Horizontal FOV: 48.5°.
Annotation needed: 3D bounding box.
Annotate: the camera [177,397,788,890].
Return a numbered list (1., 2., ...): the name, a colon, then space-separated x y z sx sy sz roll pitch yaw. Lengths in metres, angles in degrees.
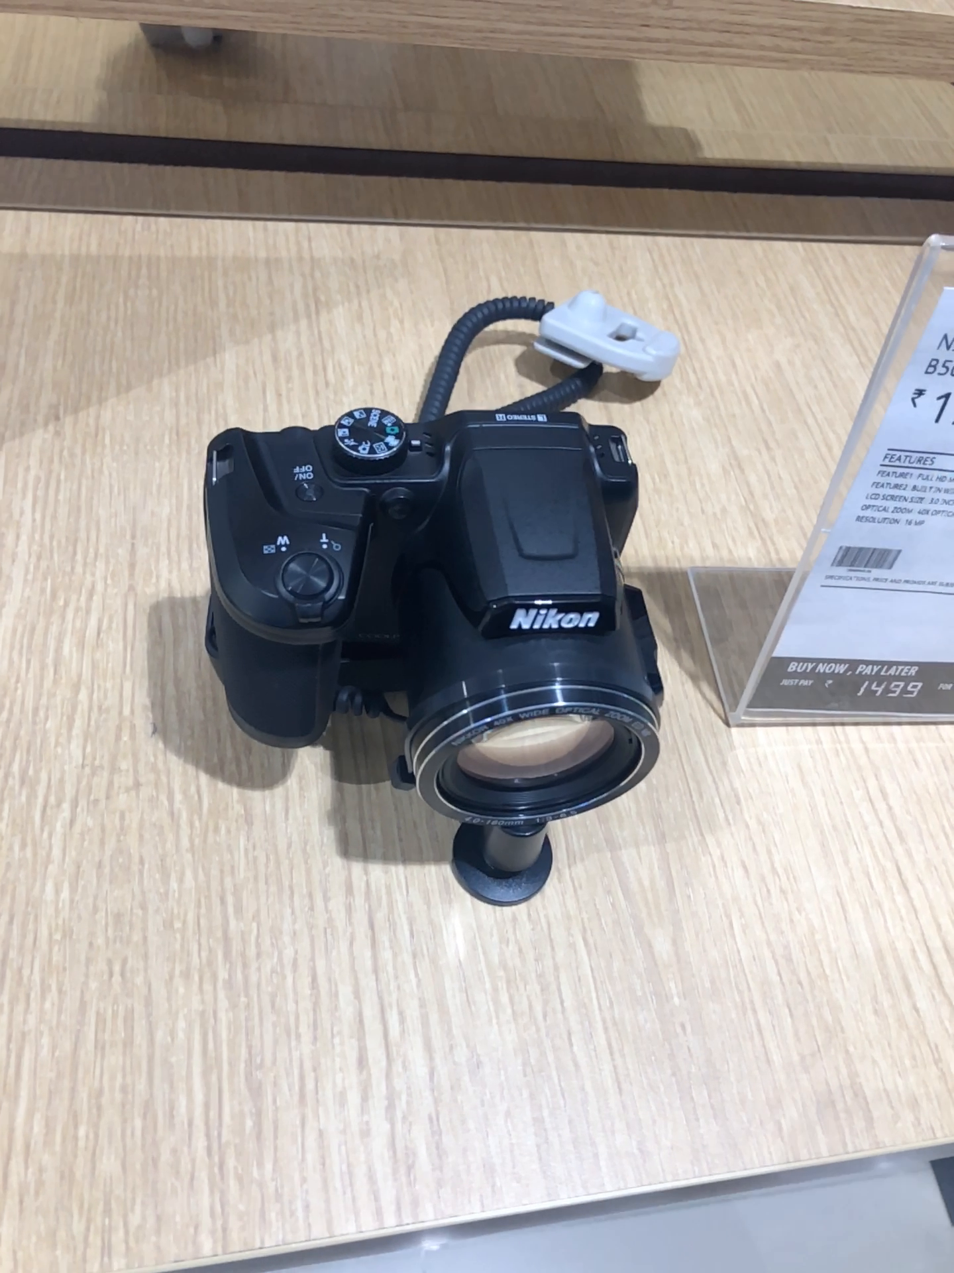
1. camera: -0.007 -0.001 0.257 0.120 0.070 0.090 -3 55 -12
